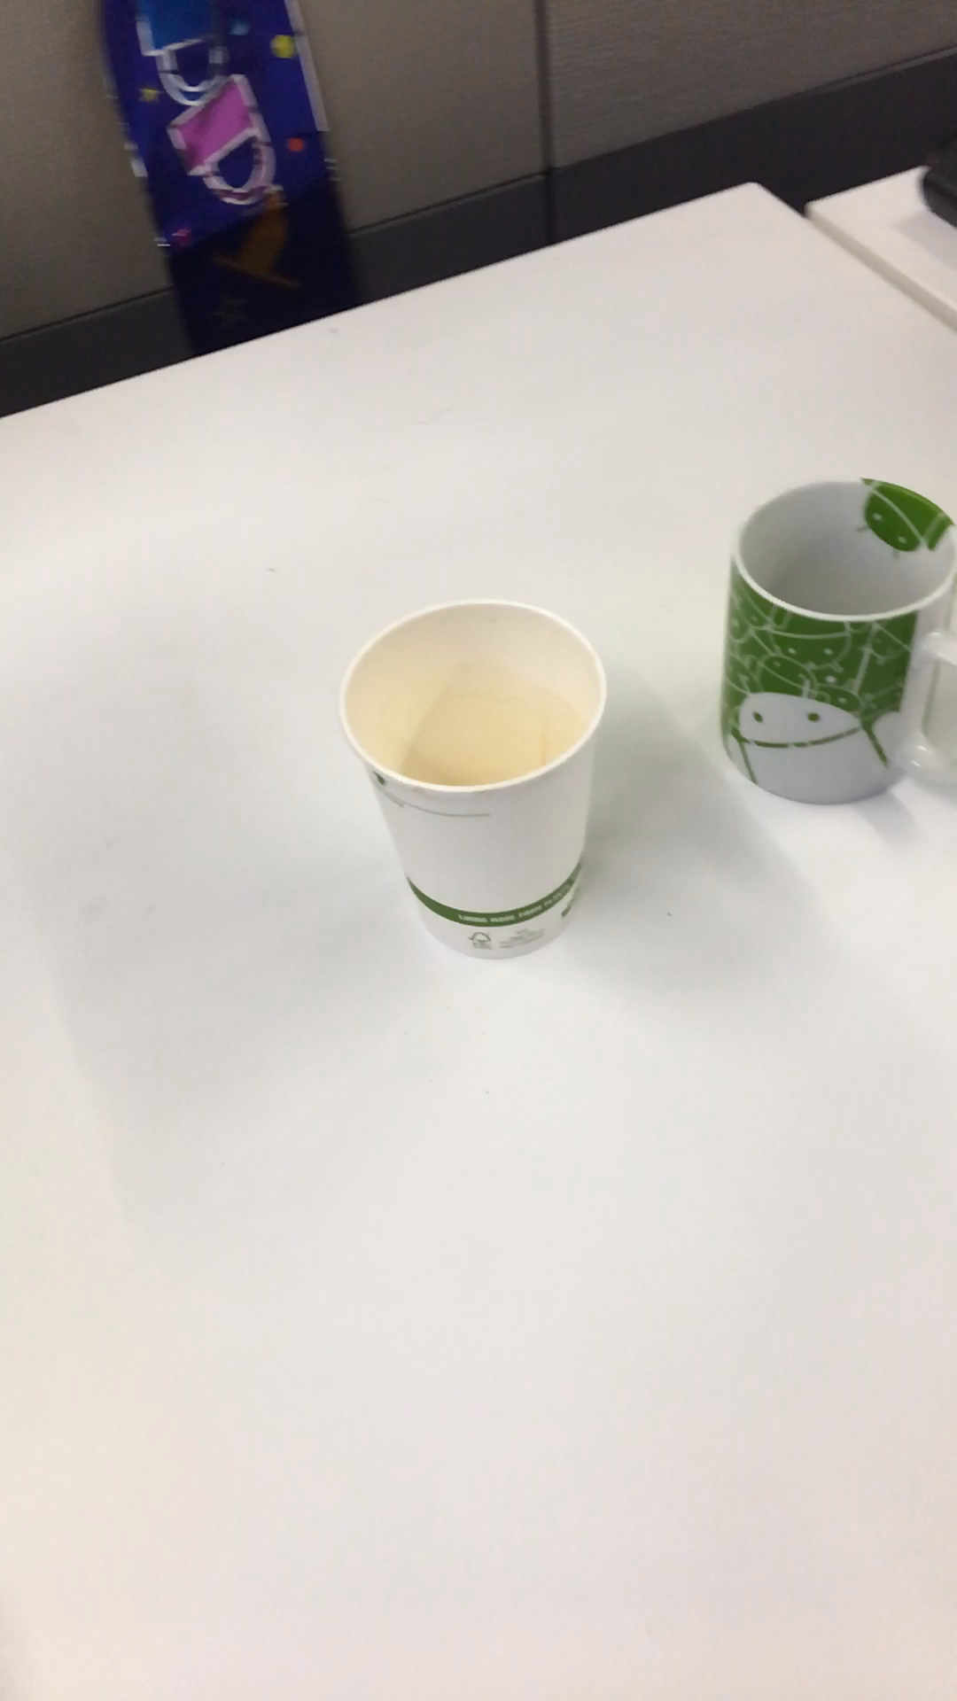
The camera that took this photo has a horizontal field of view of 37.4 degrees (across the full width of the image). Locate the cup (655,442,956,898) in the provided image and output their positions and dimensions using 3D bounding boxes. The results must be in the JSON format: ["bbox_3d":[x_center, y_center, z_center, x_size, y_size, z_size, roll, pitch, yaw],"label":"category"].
[{"bbox_3d":[0.141,-0.069,0.520,0.090,0.090,0.120,-38,57,-23],"label":"cup"}]

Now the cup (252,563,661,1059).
[{"bbox_3d":[-0.003,-0.013,0.480,0.090,0.110,0.090,-3,50,3],"label":"cup"}]
